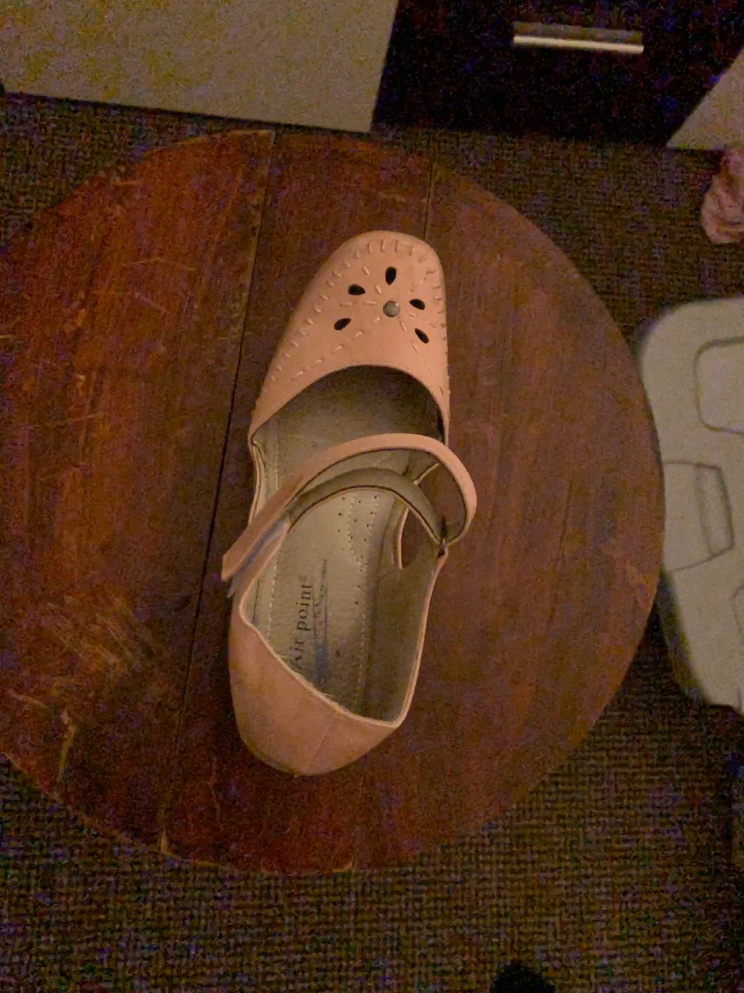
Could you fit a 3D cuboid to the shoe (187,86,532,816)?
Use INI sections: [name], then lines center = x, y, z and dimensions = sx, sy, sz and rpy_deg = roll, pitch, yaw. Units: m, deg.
[shoe]
center = -0.003, -0.020, 0.332
dimensions = 0.101, 0.092, 0.272
rpy_deg = 8, 77, -6
